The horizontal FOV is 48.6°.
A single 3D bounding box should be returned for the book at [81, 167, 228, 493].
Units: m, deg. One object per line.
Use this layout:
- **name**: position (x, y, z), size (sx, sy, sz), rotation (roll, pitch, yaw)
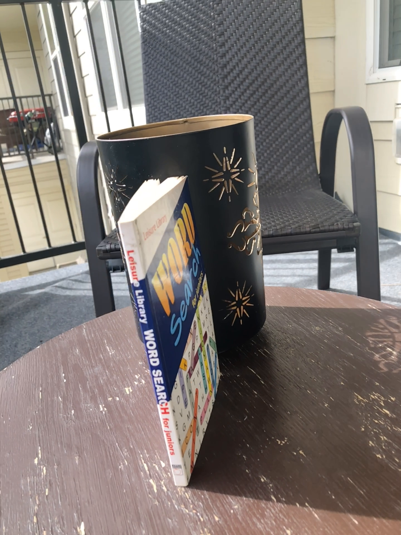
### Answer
- **book**: position (-0.018, 0.033, 0.303), size (0.031, 0.179, 0.125), rotation (-6, 19, 13)
